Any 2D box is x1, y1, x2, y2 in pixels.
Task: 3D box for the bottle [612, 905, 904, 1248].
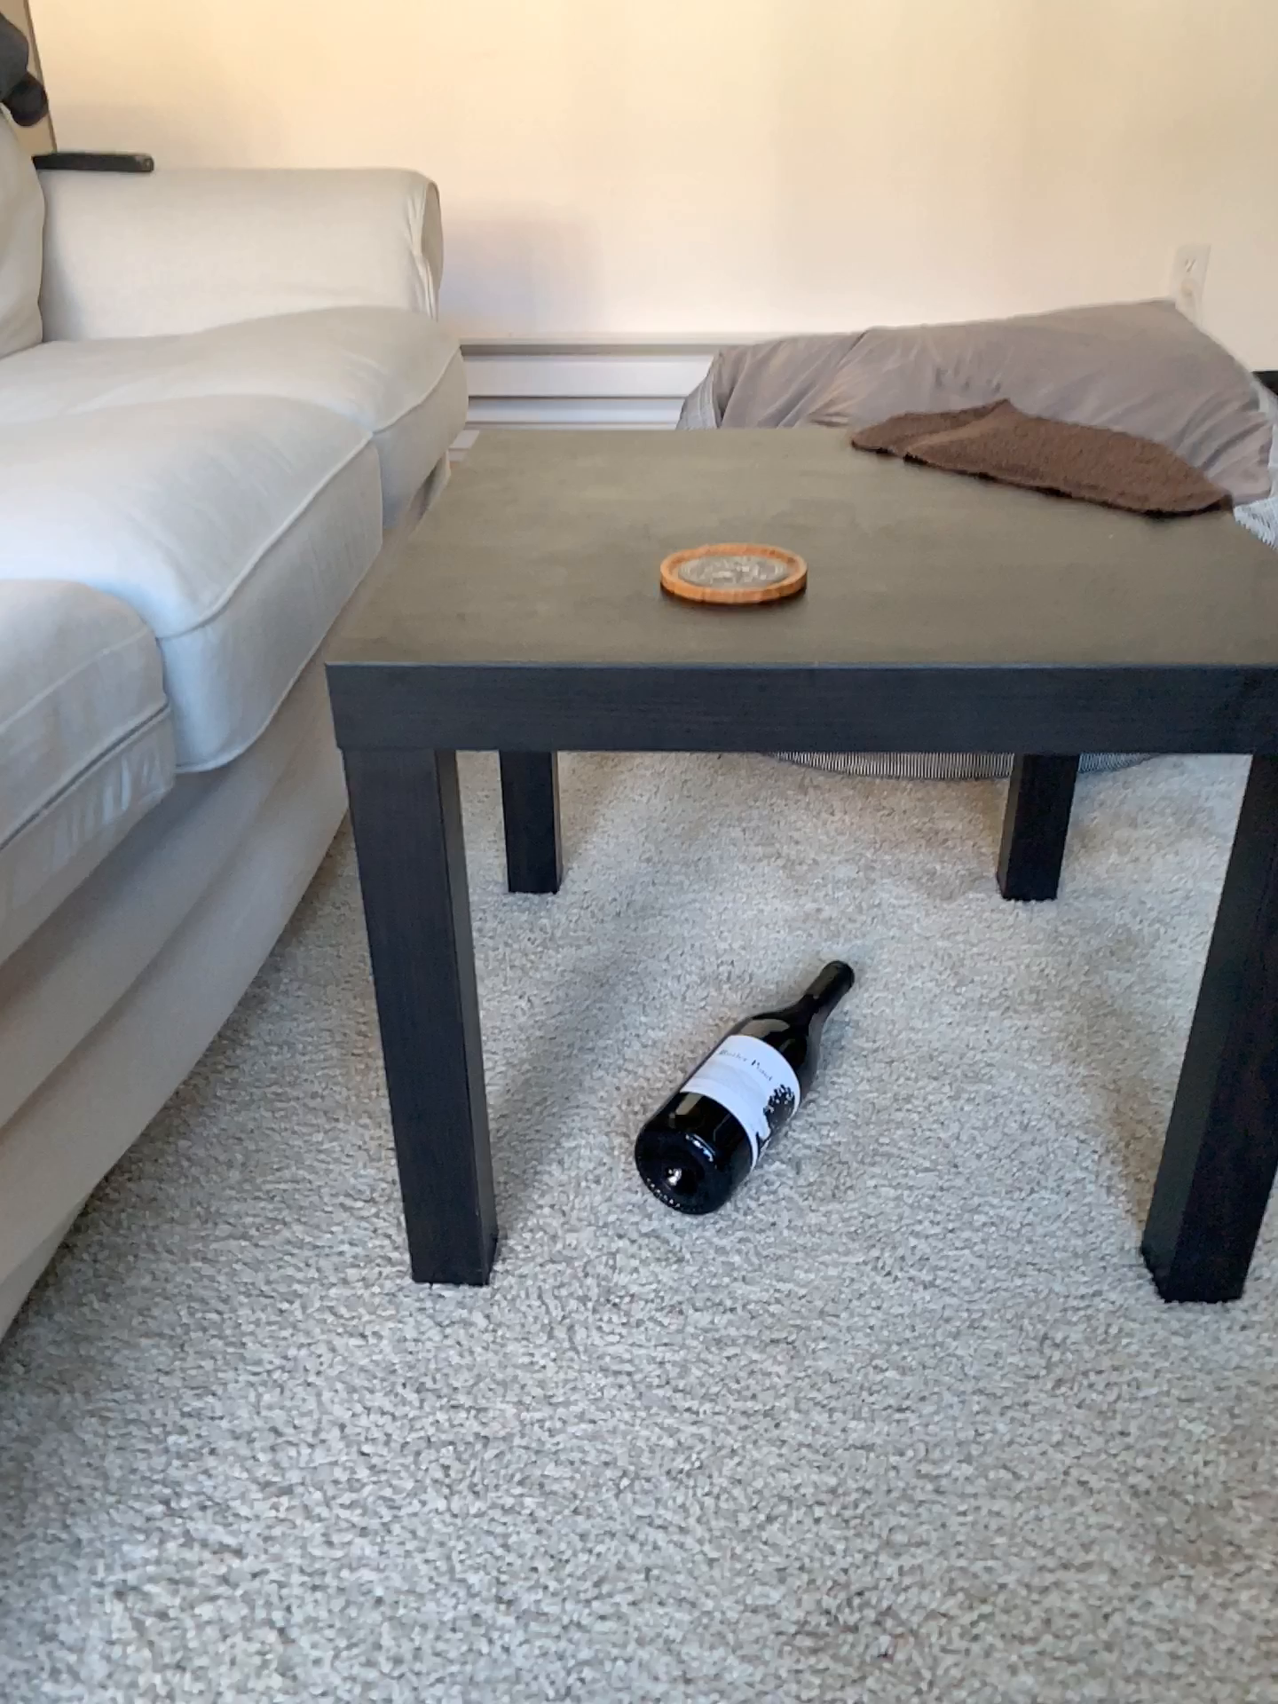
[{"bbox_3d":[0.097,0.158,0.985,0.080,0.079,0.281,32,42,15],"label":"bottle"}]
